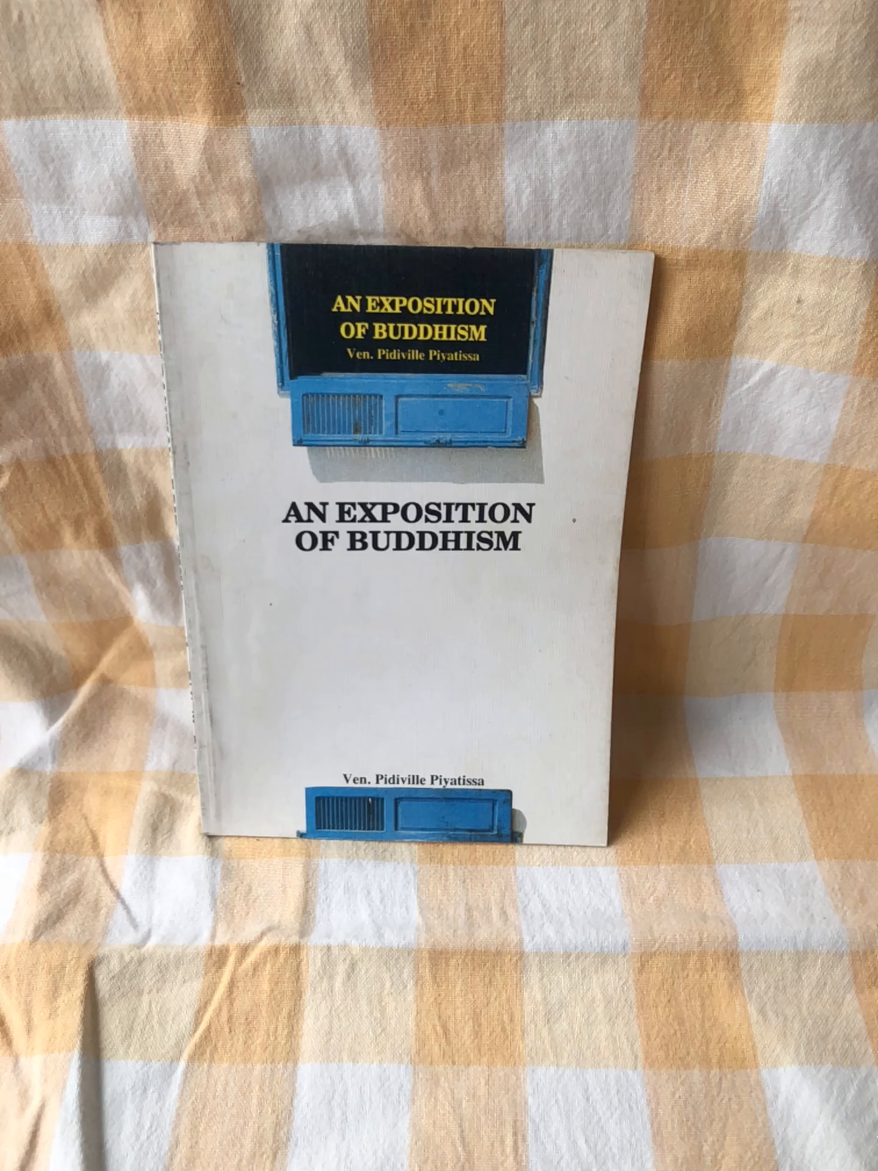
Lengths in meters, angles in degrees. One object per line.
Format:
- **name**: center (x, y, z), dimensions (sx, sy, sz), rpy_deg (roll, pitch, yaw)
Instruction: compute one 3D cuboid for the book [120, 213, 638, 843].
- **book**: center (-0.016, -0.011, 0.308), dimensions (0.140, 0.199, 0.020), rpy_deg (1, 21, 3)
